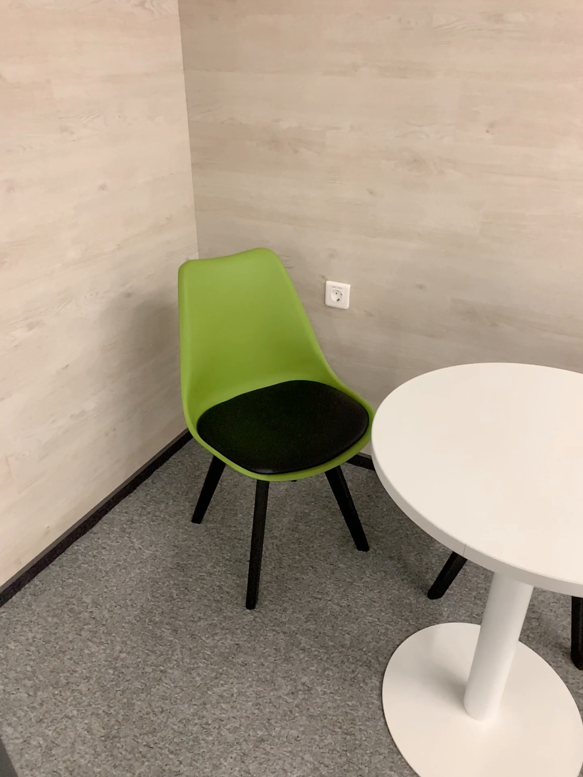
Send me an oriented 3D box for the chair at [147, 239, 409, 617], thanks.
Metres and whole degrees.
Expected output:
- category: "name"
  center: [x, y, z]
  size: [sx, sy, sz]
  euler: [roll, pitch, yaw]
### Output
- category: "chair"
  center: [-0.049, 0.089, 1.728]
  size: [0.491, 0.865, 0.482]
  euler: [-17, 34, -28]
